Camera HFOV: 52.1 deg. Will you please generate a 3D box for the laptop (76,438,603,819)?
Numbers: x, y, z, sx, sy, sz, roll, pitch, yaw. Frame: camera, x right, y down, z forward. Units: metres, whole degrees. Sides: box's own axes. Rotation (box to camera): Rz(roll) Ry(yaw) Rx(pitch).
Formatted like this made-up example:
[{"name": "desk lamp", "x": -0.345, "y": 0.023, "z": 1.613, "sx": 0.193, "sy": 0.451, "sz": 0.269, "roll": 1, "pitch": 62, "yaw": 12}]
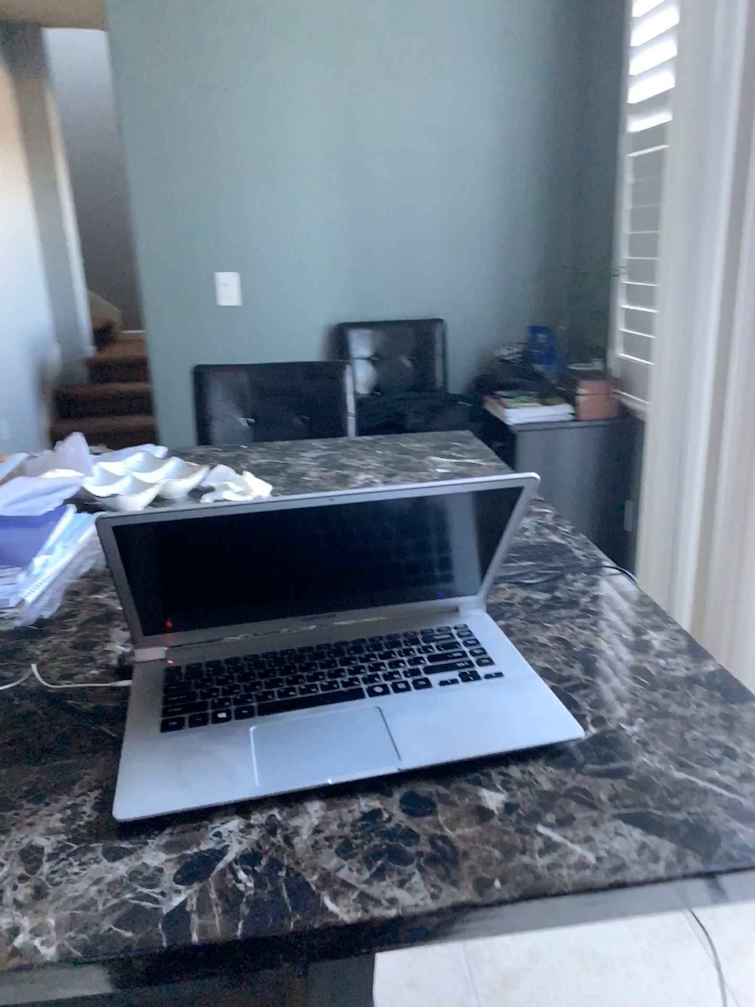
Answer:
[{"name": "laptop", "x": -0.036, "y": 0.078, "z": 0.658, "sx": 0.361, "sy": 0.188, "sz": 0.235, "roll": -6, "pitch": 18, "yaw": -11}]
